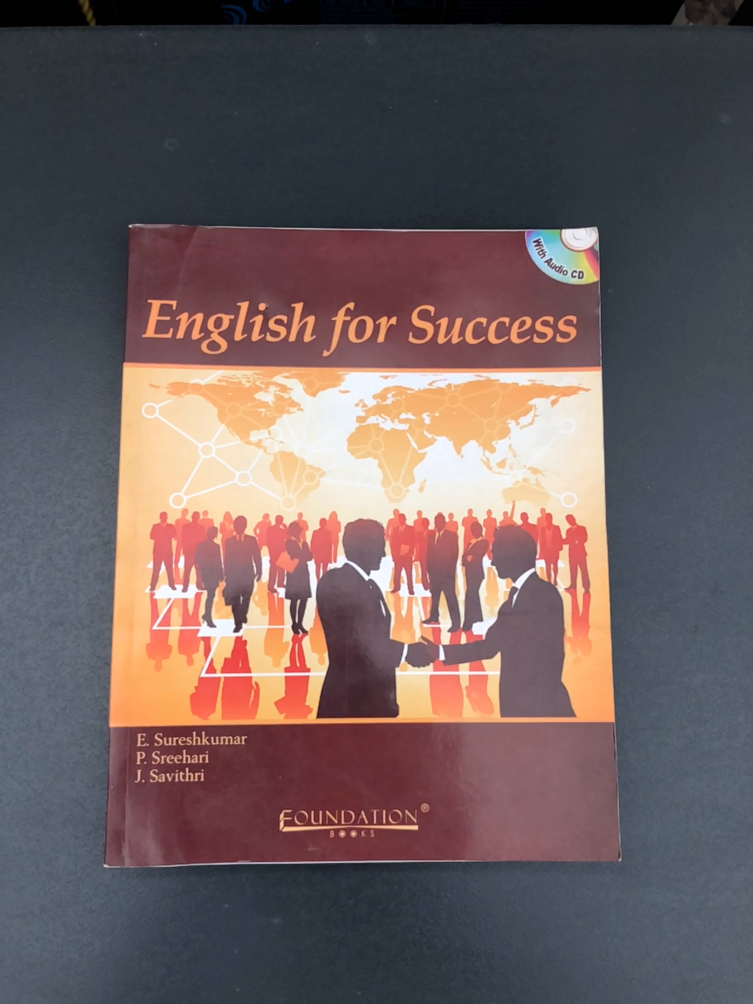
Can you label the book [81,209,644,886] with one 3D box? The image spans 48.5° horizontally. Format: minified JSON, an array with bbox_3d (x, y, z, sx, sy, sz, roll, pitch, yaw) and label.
[{"bbox_3d":[-0.005,0.010,0.315,0.190,0.030,0.240,0,82,-2],"label":"book"}]
